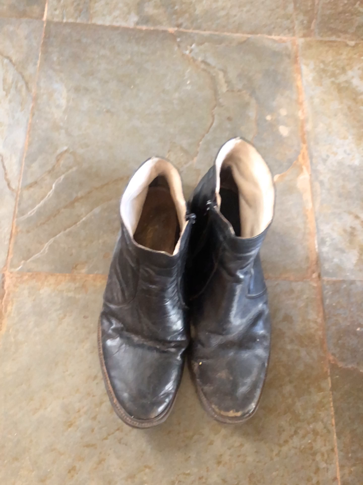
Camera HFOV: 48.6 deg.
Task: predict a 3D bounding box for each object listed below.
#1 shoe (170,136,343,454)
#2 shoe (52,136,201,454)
[{"bbox_3d":[0.050,0.049,0.397,0.100,0.160,0.251,-3,72,-5],"label":"shoe"},{"bbox_3d":[-0.041,0.052,0.394,0.100,0.160,0.251,3,71,-4],"label":"shoe"}]
